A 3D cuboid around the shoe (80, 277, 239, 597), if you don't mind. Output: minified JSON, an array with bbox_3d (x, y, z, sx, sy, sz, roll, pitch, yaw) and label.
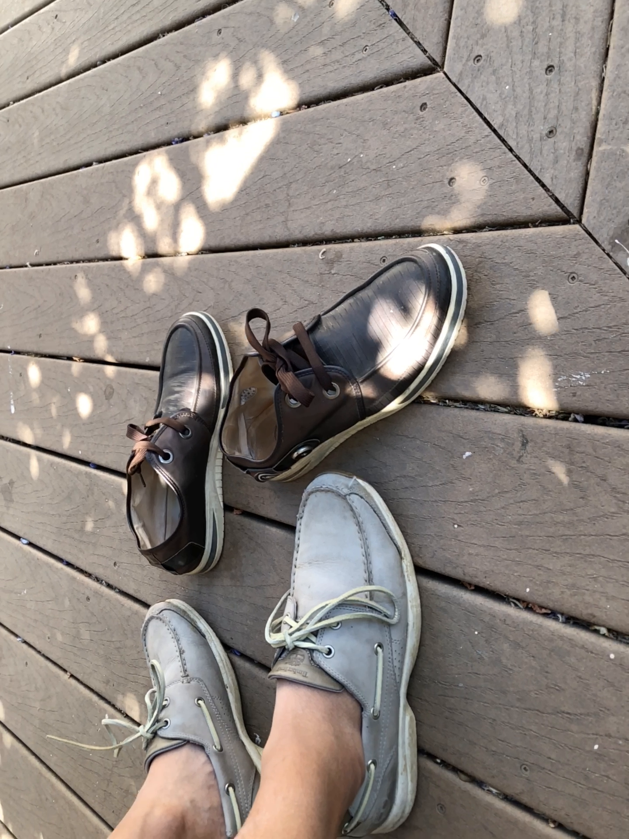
[{"bbox_3d":[-0.163,0.019,0.731,0.111,0.111,0.303,-2,85,42],"label":"shoe"}]

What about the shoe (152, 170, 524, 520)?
[{"bbox_3d":[0.002,-0.040,0.582,0.304,0.111,0.110,-42,60,32],"label":"shoe"}]

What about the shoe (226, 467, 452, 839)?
[{"bbox_3d":[0.016,0.197,0.558,0.111,0.111,0.303,-13,78,41],"label":"shoe"}]

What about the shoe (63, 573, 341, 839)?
[{"bbox_3d":[-0.123,0.309,0.678,0.304,0.111,0.110,51,119,33],"label":"shoe"}]
